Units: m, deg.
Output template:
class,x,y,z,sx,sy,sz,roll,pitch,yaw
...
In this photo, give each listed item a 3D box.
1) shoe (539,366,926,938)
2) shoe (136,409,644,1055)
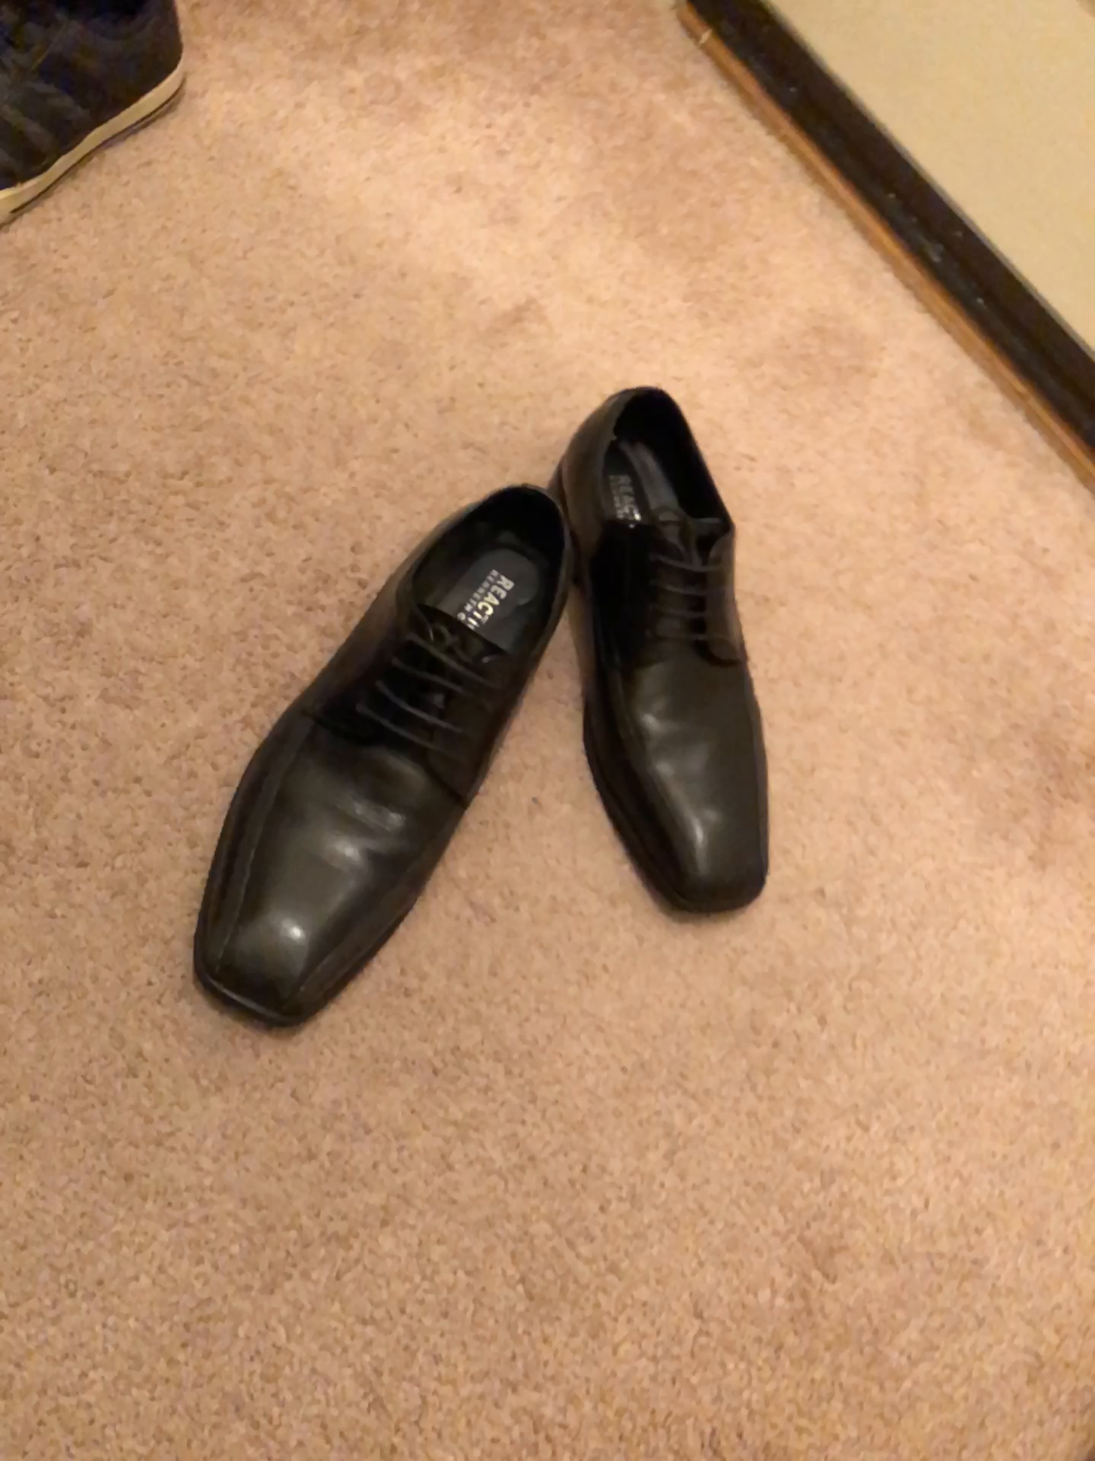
class,x,y,z,sx,sy,sz,roll,pitch,yaw
shoe,0.091,-0.048,0.685,0.115,0.110,0.298,-1,65,-20
shoe,-0.070,-0.006,0.592,0.110,0.107,0.284,30,58,-4
